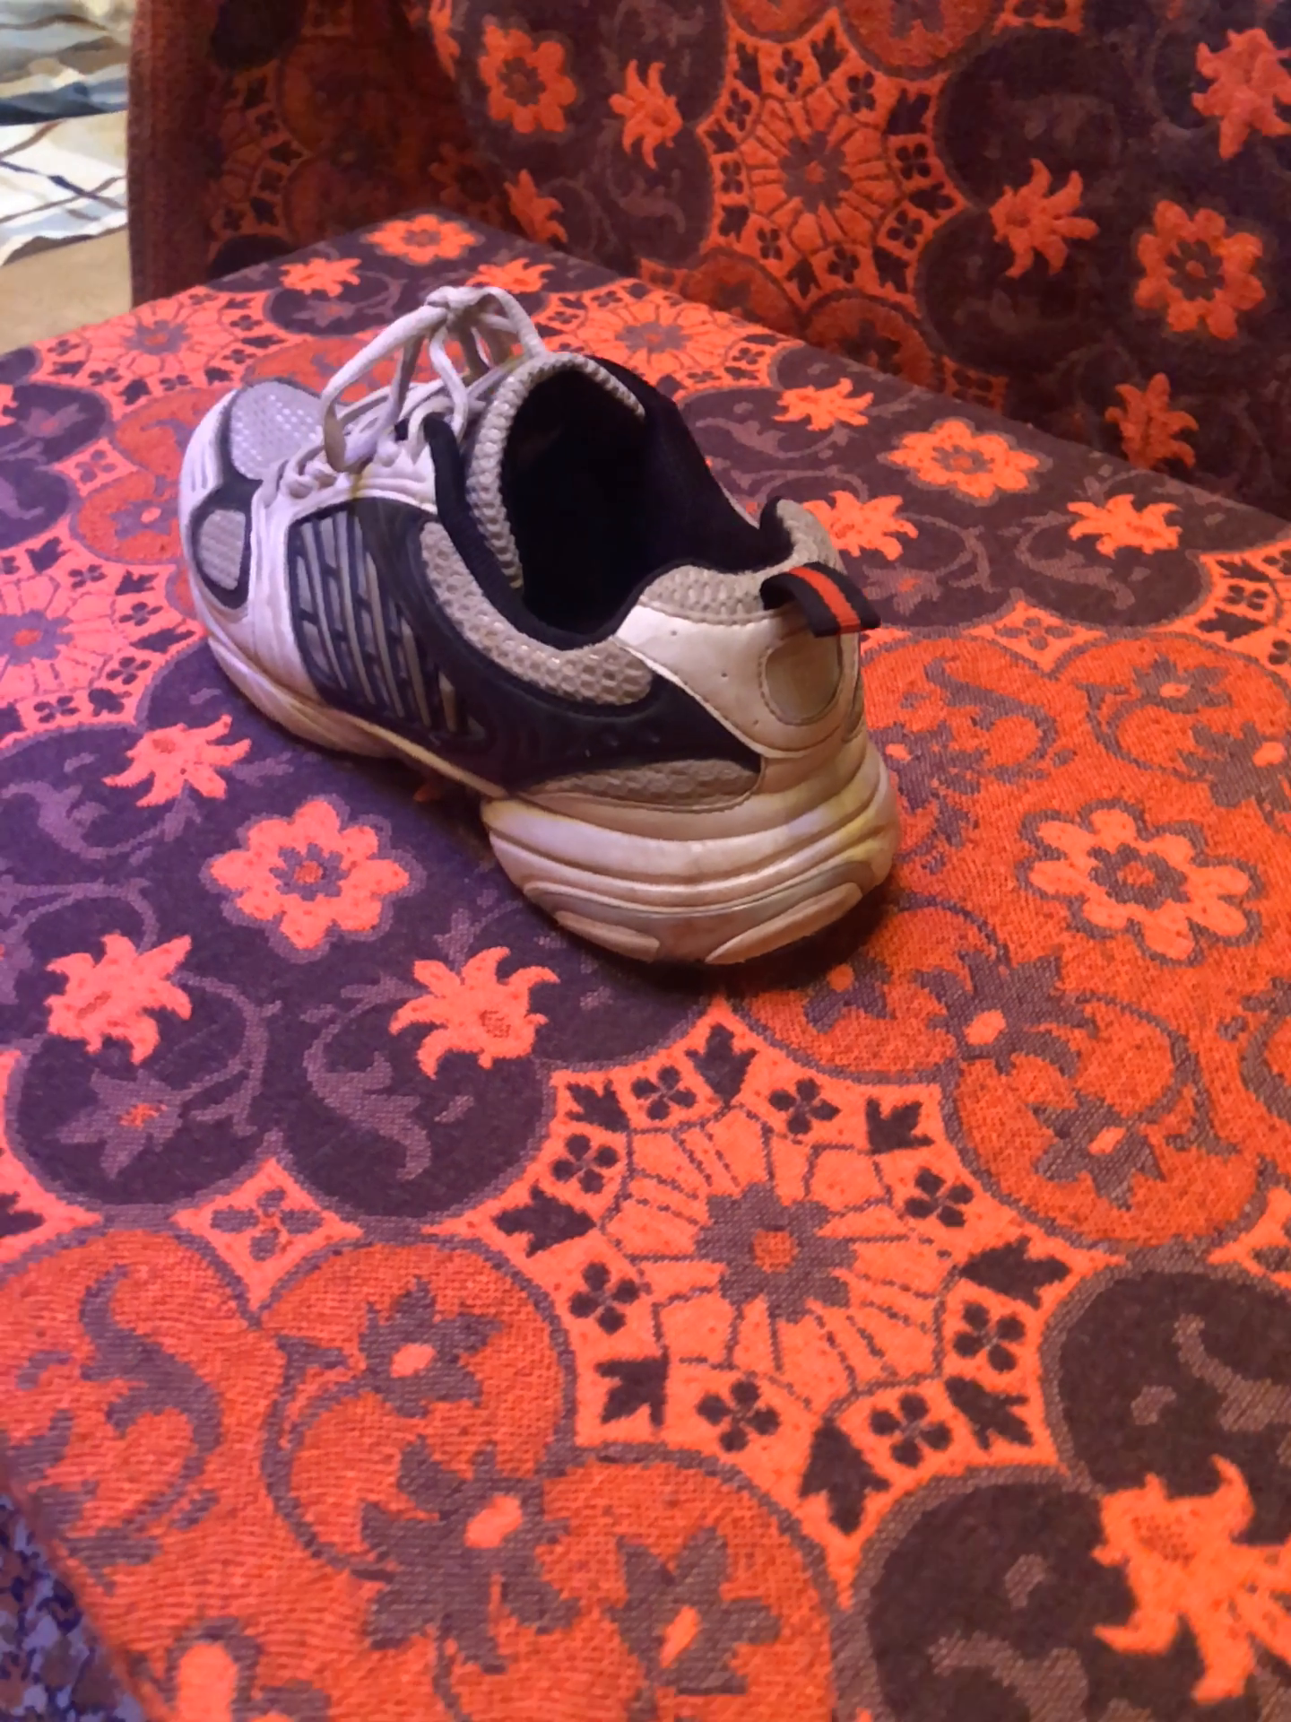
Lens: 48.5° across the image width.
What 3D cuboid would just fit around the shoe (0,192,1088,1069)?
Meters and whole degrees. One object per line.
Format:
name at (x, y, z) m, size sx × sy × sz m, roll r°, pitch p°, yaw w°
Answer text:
shoe at (-0.052, -0.090, 0.402) m, size 0.120 × 0.090 × 0.311 m, roll -34°, pitch 52°, yaw -30°
